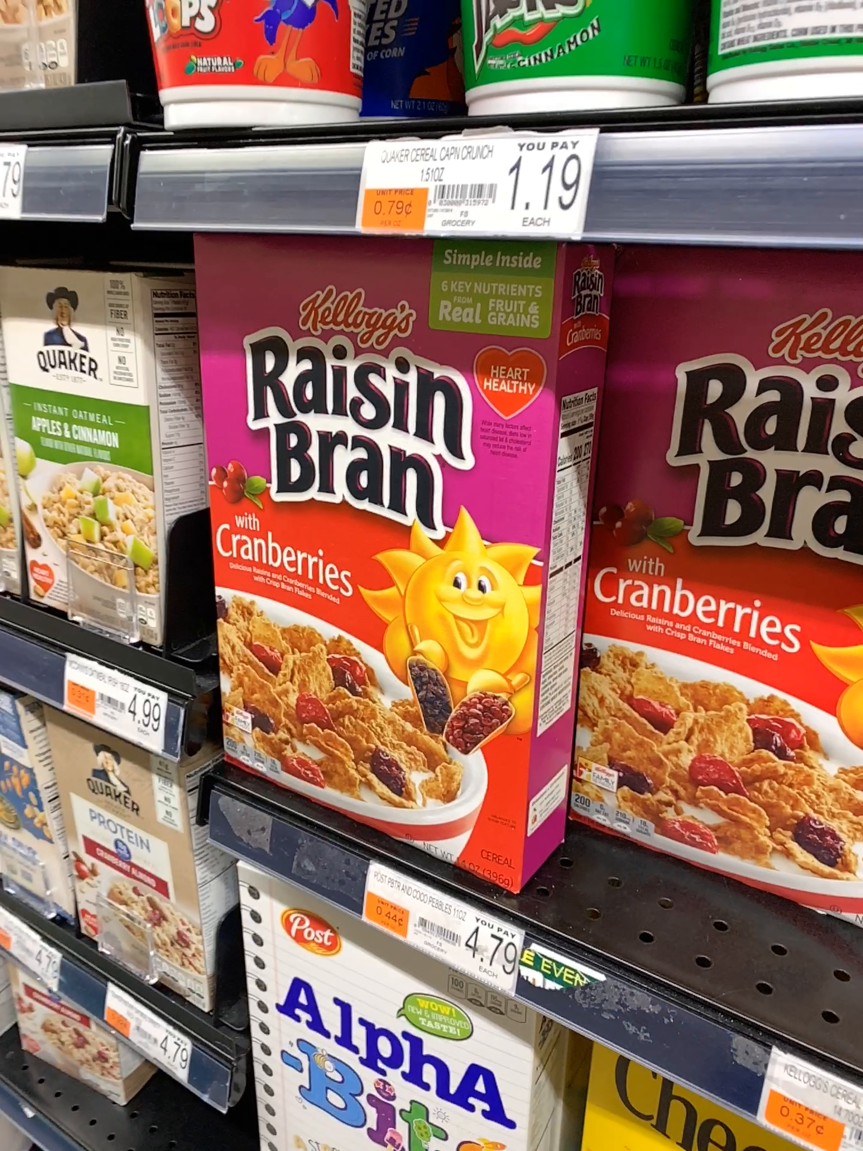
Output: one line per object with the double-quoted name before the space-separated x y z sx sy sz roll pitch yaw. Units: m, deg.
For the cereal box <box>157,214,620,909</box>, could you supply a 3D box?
"cereal box" -0.030 -0.016 0.425 0.200 0.289 0.060 15 24 31
